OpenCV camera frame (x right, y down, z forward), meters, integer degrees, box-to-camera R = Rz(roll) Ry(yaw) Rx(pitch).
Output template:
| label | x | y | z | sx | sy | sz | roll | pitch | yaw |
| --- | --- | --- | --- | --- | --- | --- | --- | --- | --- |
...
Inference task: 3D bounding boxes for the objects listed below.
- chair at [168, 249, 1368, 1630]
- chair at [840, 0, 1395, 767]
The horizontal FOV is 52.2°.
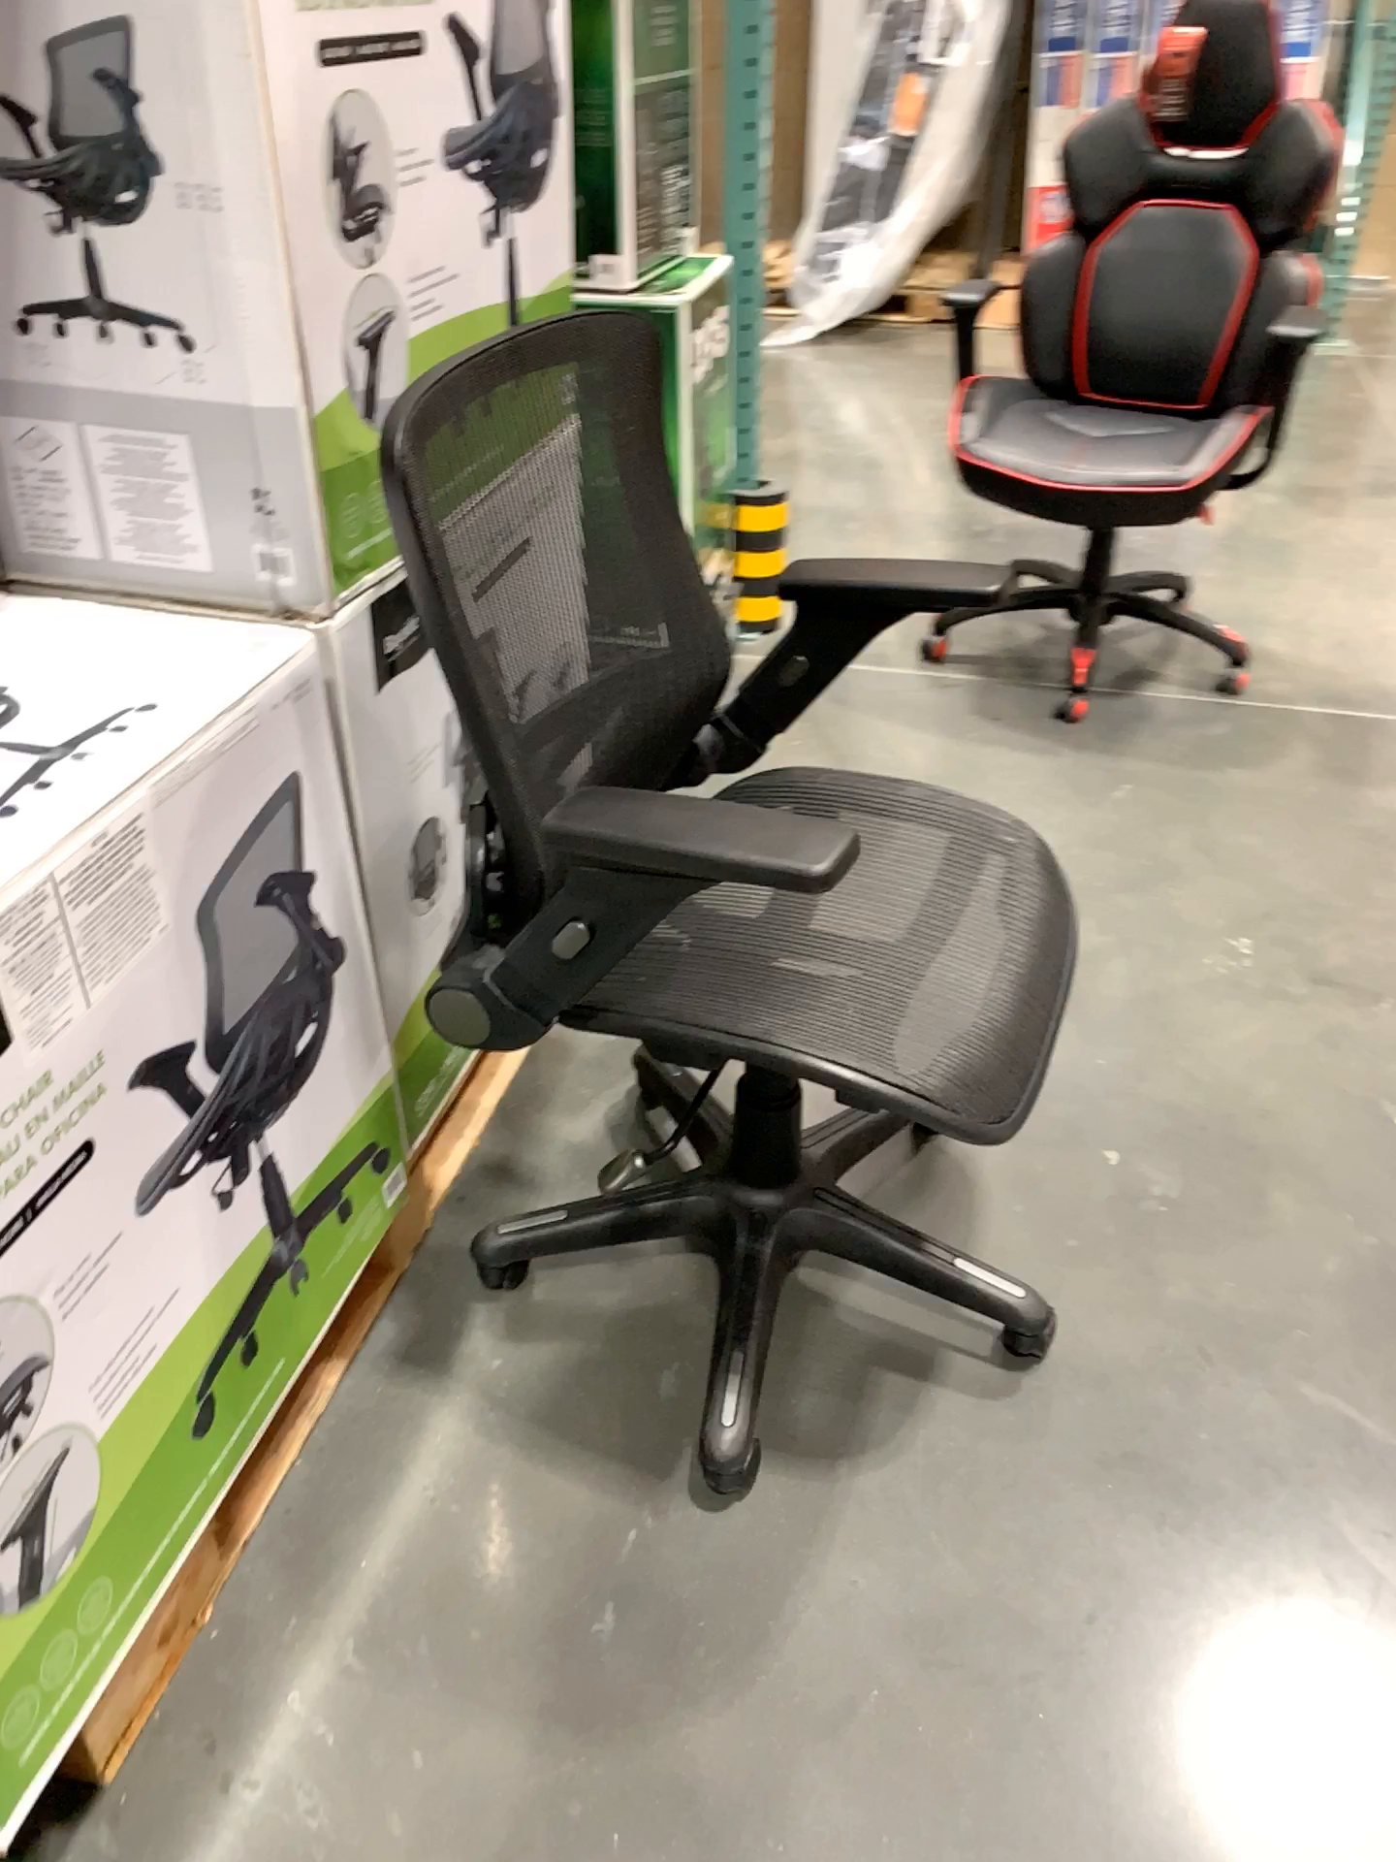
| label | x | y | z | sx | sy | sz | roll | pitch | yaw |
| --- | --- | --- | --- | --- | --- | --- | --- | --- | --- |
| chair | 0.114 | -0.039 | 1.376 | 0.736 | 0.987 | 0.678 | 13 | 36 | 19 |
| chair | 0.840 | -1.108 | 2.715 | 0.756 | 1.146 | 0.969 | 16 | 38 | 23 |
